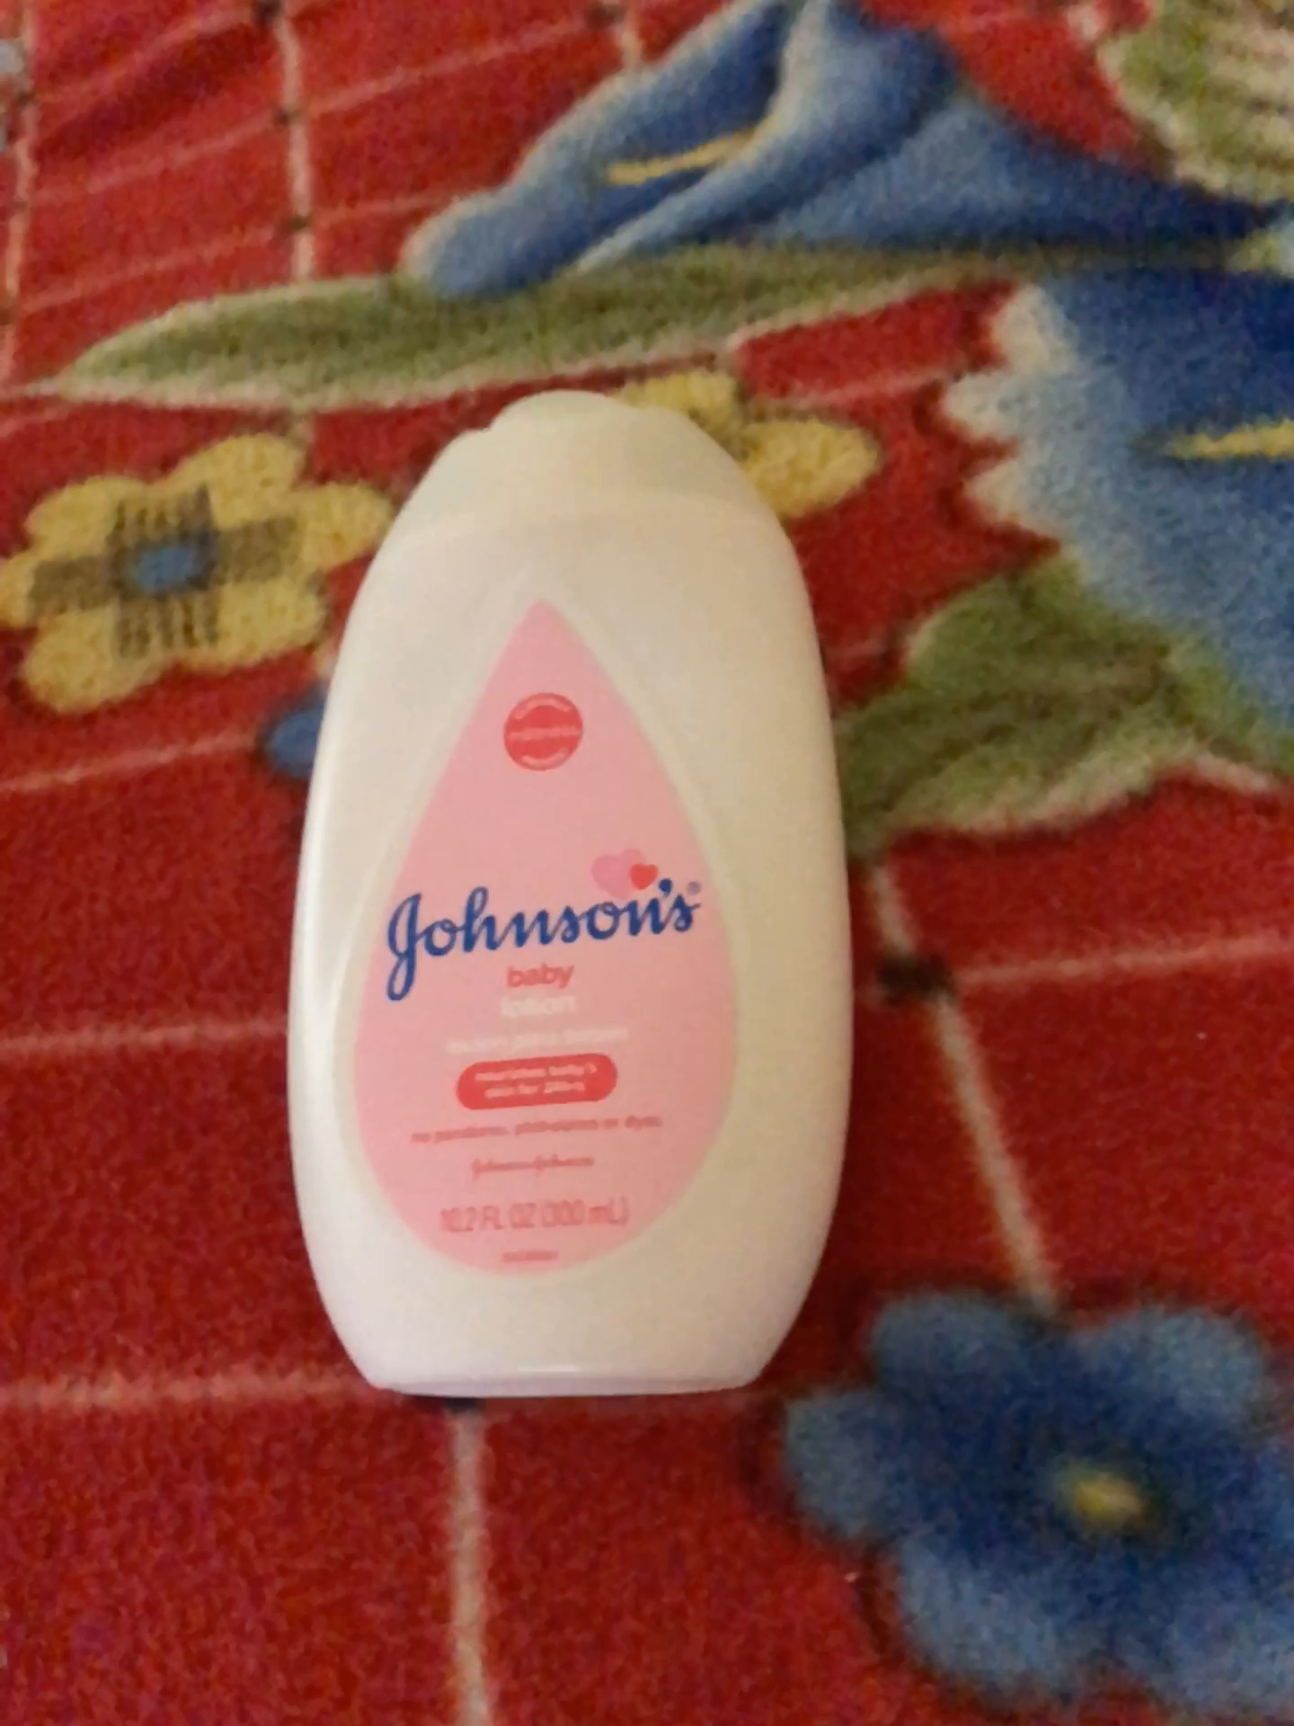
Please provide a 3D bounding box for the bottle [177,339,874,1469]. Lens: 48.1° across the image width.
[{"bbox_3d":[-0.012,-0.002,0.220,0.080,0.030,0.170,-7,59,14],"label":"bottle"}]
